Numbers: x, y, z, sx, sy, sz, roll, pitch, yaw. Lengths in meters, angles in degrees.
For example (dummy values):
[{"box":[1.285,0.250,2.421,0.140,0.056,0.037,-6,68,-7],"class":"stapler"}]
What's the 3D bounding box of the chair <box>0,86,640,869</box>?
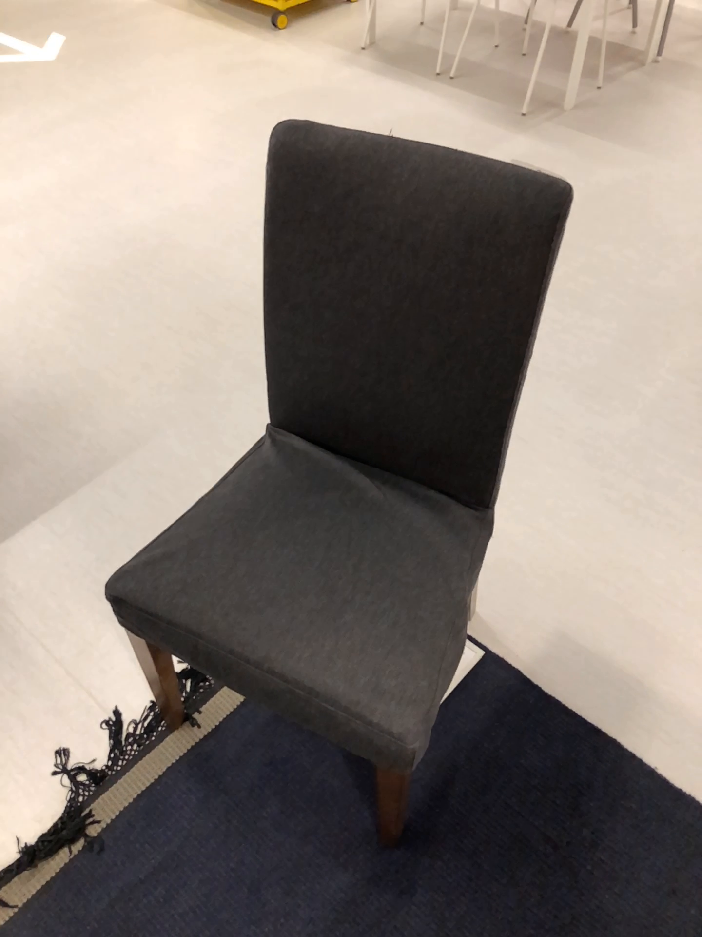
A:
[{"box":[-0.029,0.066,1.181,0.541,0.964,0.552,22,51,19],"class":"chair"}]
